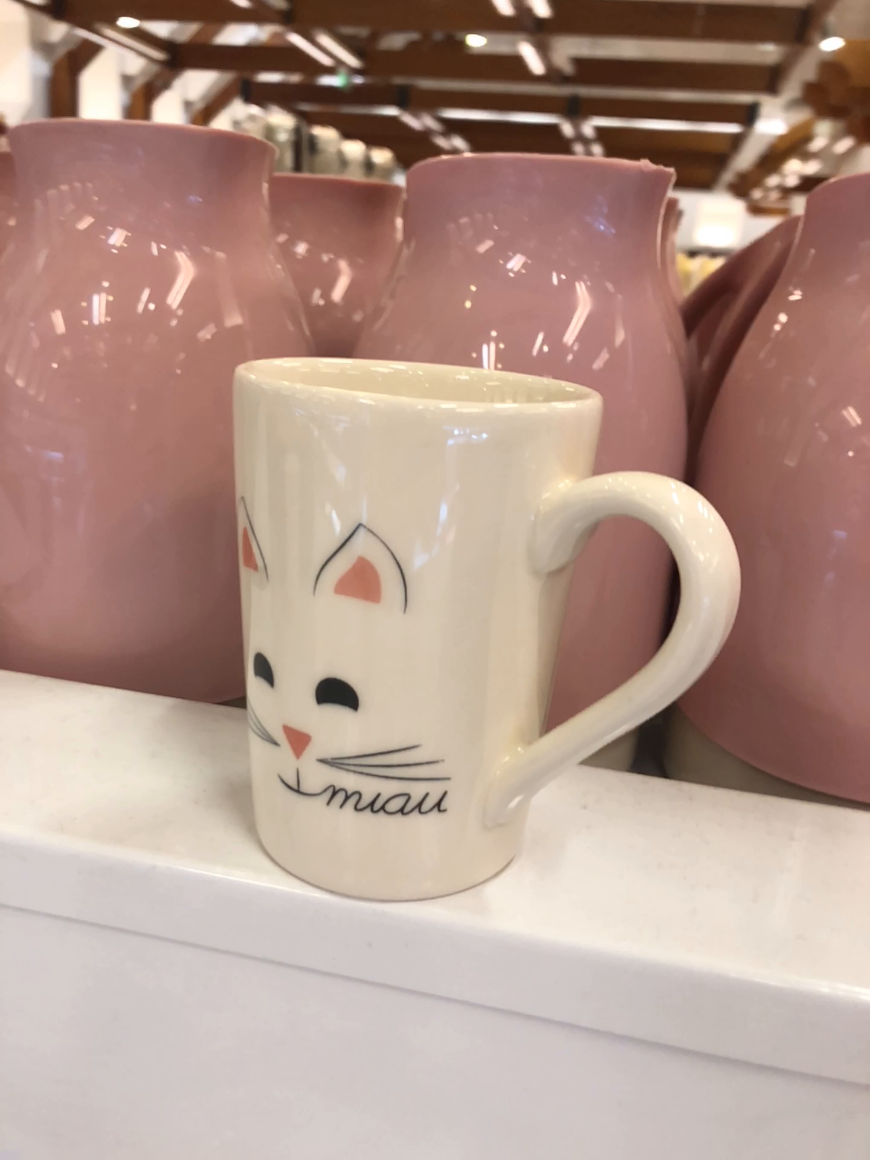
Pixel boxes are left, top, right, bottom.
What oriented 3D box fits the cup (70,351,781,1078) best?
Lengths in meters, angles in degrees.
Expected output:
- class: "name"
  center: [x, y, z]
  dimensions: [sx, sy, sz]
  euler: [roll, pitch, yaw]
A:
- class: "cup"
  center: [-0.002, 0.011, 0.199]
  dimensions: [0.110, 0.099, 0.080]
  euler: [13, 19, 26]
